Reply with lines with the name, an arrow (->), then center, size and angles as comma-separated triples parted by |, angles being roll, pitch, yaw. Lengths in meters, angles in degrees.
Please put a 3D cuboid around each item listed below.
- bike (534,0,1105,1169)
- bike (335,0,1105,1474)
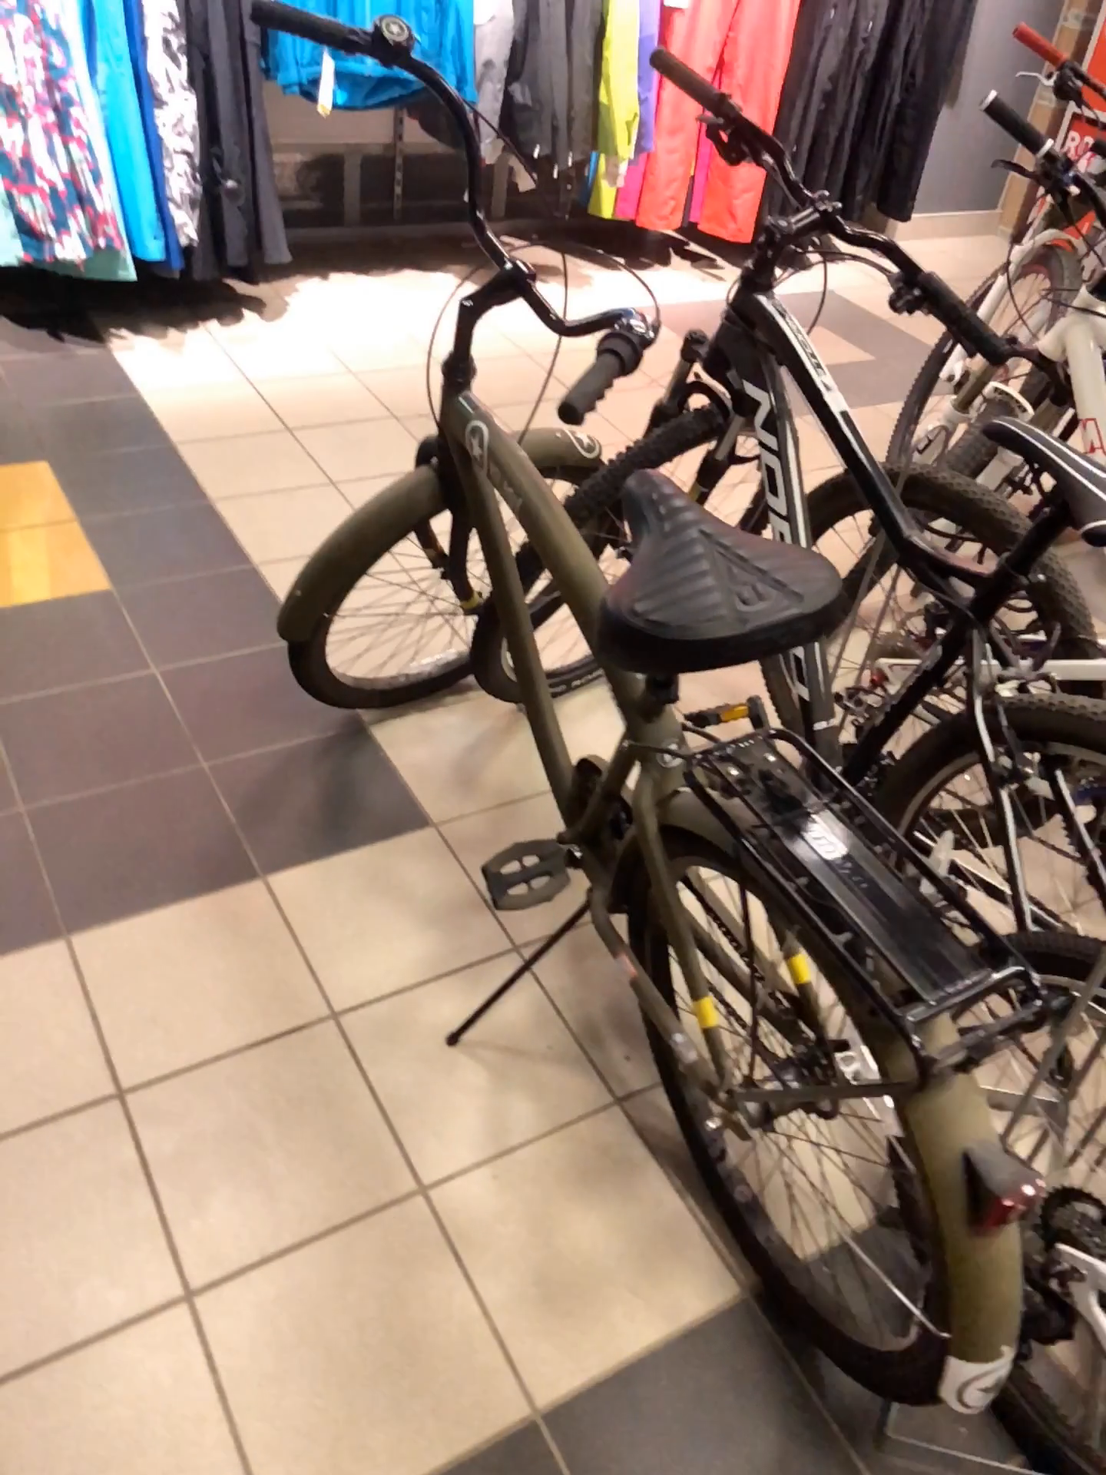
bike -> 0.438, -0.346, 1.728 | 0.664, 1.228, 0.977 | -6, 48, -18
bike -> 0.194, -0.137, 1.428 | 0.832, 1.130, 1.503 | -3, 43, -15
